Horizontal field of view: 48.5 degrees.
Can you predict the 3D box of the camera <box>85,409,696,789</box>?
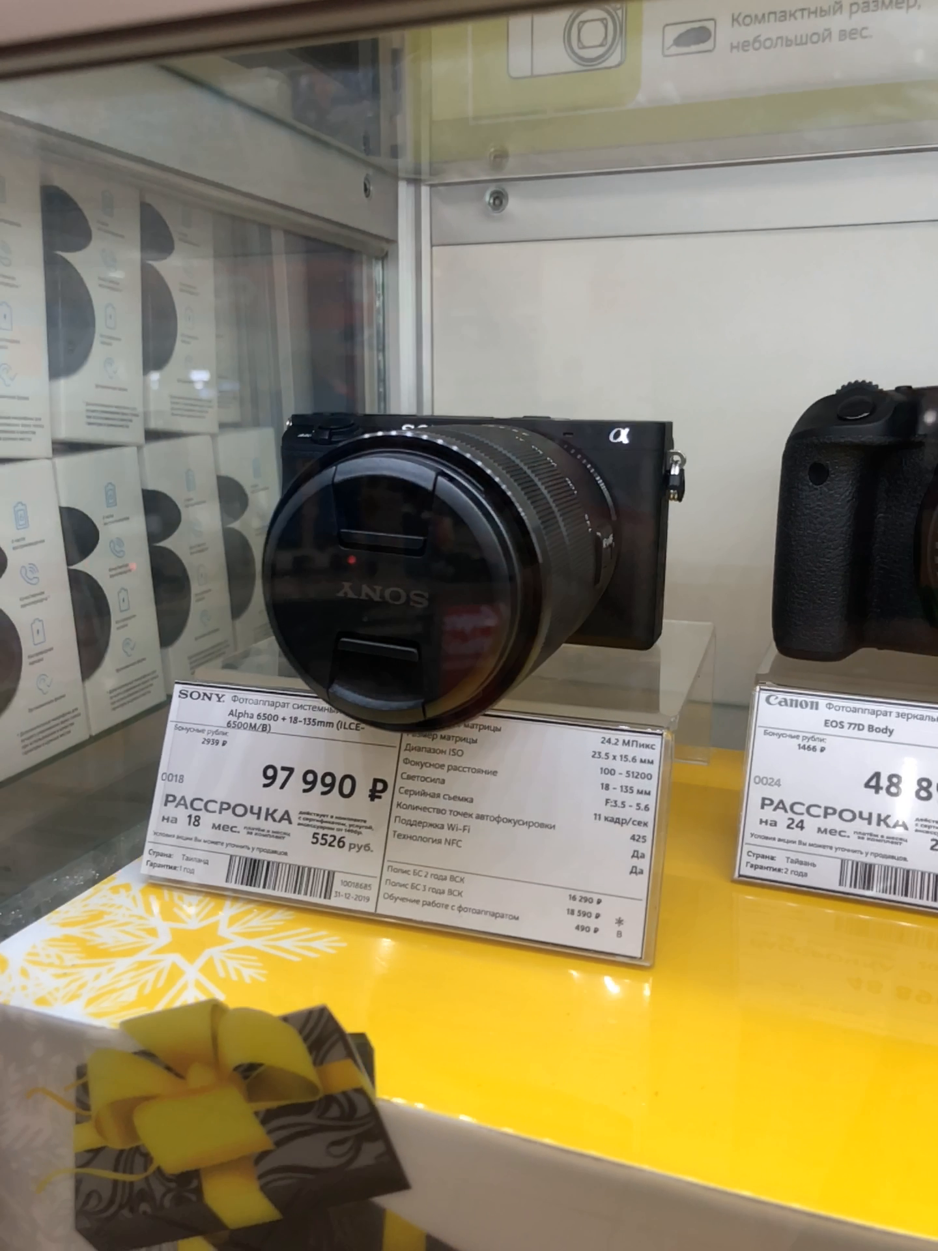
[{"bbox_3d":[-0.013,-0.021,0.302,0.130,0.080,0.123,5,13,22],"label":"camera"}]
